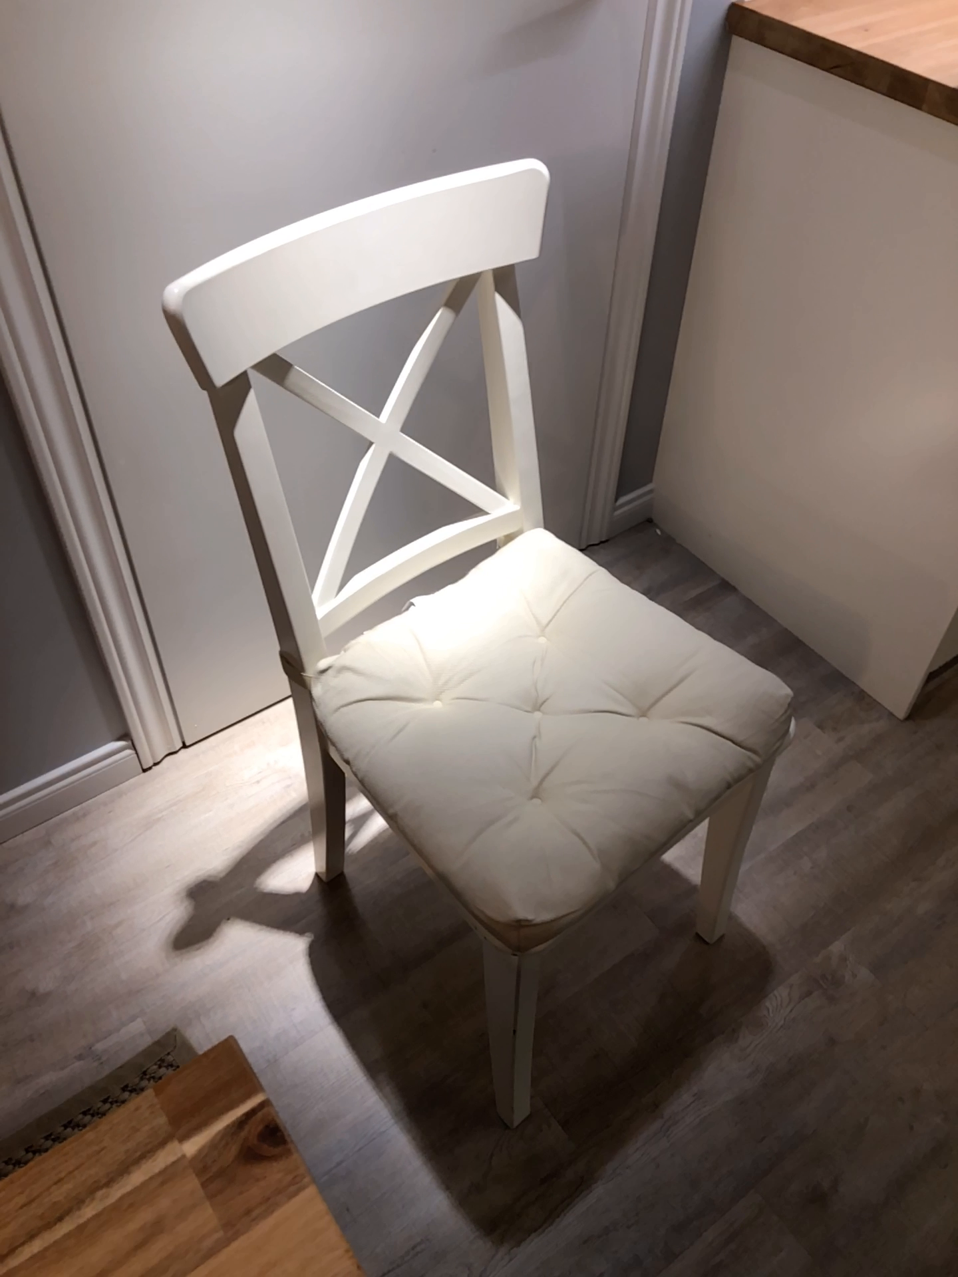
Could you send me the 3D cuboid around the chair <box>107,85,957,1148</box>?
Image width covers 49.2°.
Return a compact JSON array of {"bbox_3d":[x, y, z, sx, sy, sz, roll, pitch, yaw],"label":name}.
[{"bbox_3d":[0.049,0.021,1.083,0.451,0.874,0.512,-33,56,-28],"label":"chair"}]
